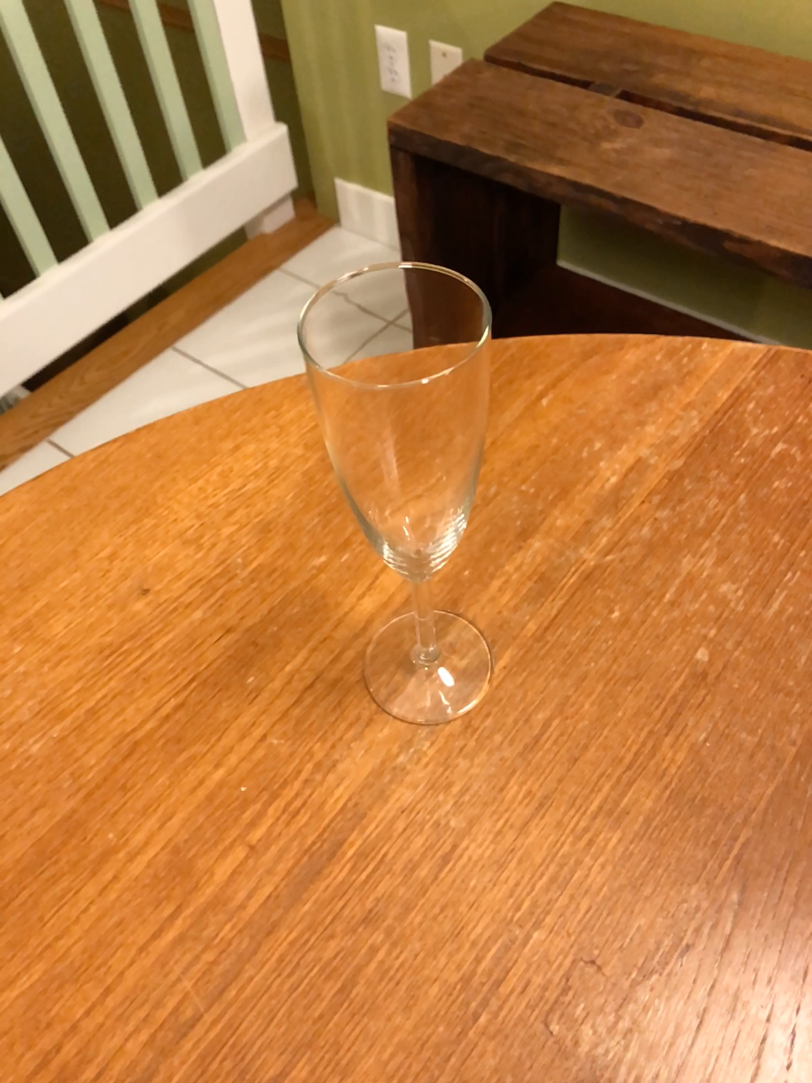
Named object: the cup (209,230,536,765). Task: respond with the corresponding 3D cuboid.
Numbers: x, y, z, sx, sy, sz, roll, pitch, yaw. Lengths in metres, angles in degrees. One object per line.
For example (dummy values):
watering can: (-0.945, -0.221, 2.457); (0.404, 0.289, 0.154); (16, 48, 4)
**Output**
cup: (-0.002, -0.003, 0.363); (0.070, 0.211, 0.077); (31, 61, 26)
